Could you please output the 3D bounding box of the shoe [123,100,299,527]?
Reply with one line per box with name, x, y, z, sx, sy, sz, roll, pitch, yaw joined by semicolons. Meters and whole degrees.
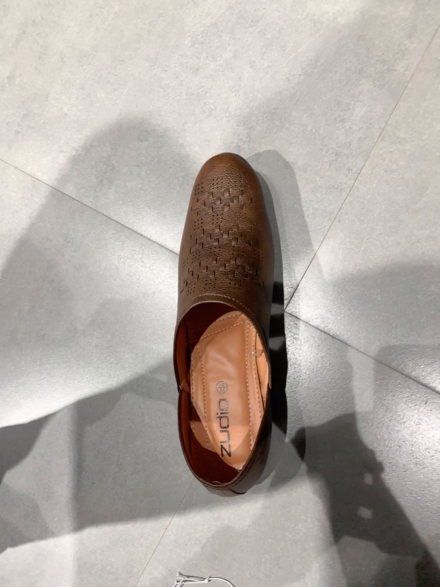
shoe;-0.004;0.016;0.370;0.100;0.110;0.290;-6;82;15
